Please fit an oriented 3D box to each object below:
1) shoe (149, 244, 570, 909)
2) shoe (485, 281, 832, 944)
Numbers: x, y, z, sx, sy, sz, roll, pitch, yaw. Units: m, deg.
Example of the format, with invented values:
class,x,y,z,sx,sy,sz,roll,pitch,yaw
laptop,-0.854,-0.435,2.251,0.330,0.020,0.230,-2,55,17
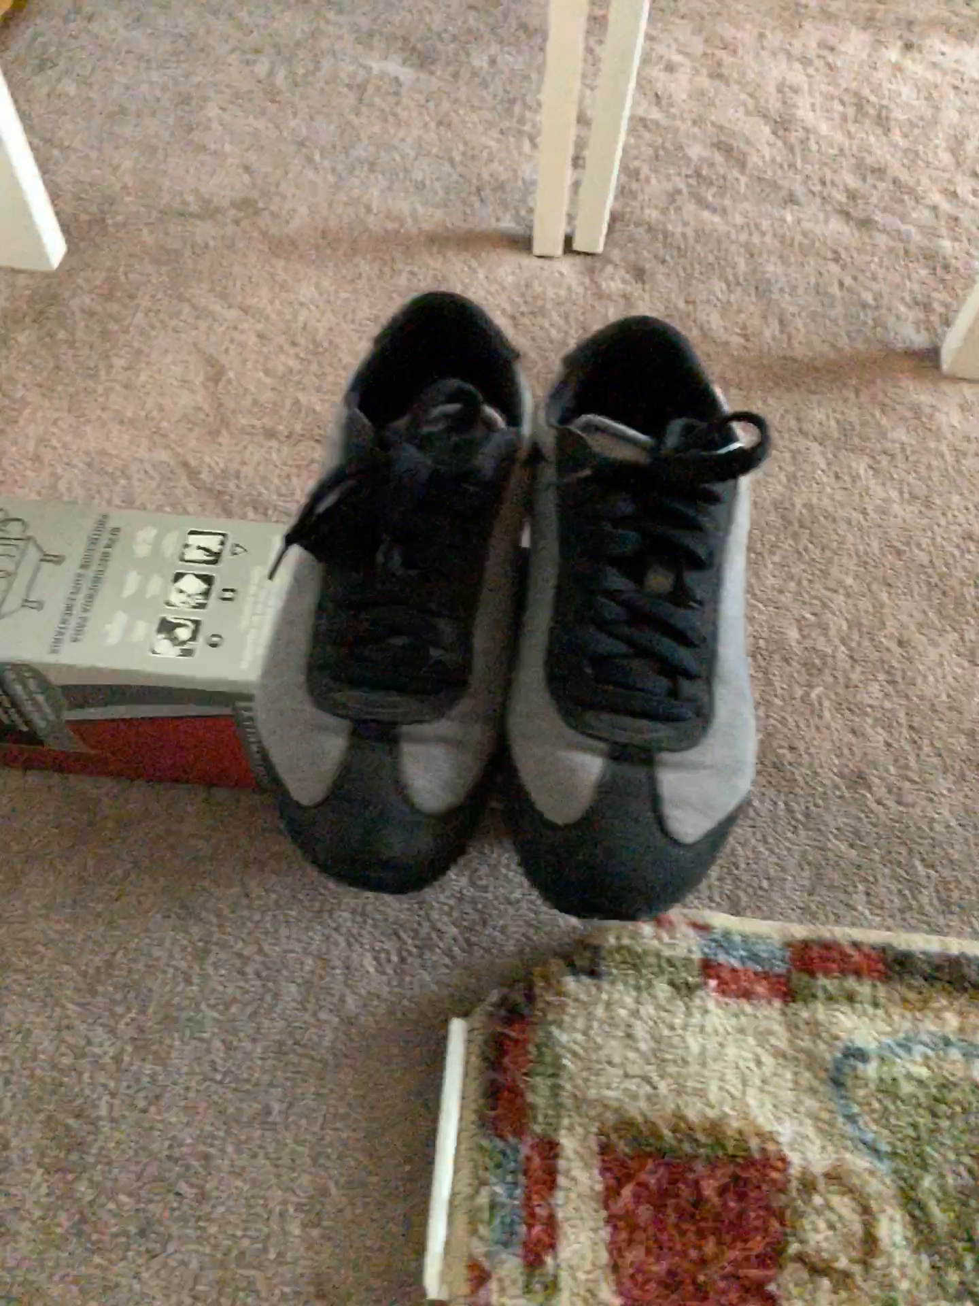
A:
class,x,y,z,sx,sy,sz,roll,pitch,yaw
shoe,-0.035,-0.038,0.384,0.110,0.077,0.242,6,60,0
shoe,0.061,-0.028,0.390,0.100,0.077,0.252,4,58,4
